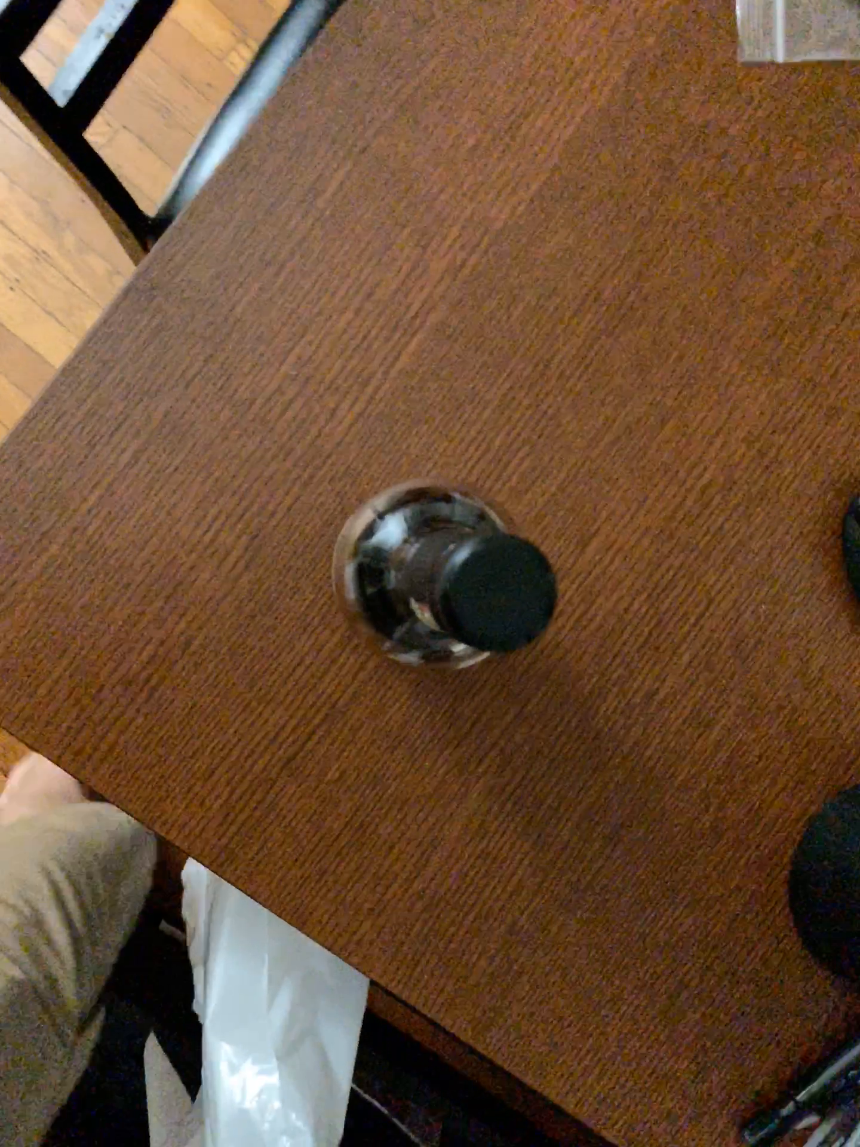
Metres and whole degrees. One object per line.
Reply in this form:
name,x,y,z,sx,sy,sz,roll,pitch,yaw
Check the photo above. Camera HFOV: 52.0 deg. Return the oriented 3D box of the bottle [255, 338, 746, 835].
bottle,0.002,-0.001,0.356,0.090,0.290,0.090,0,92,-7
